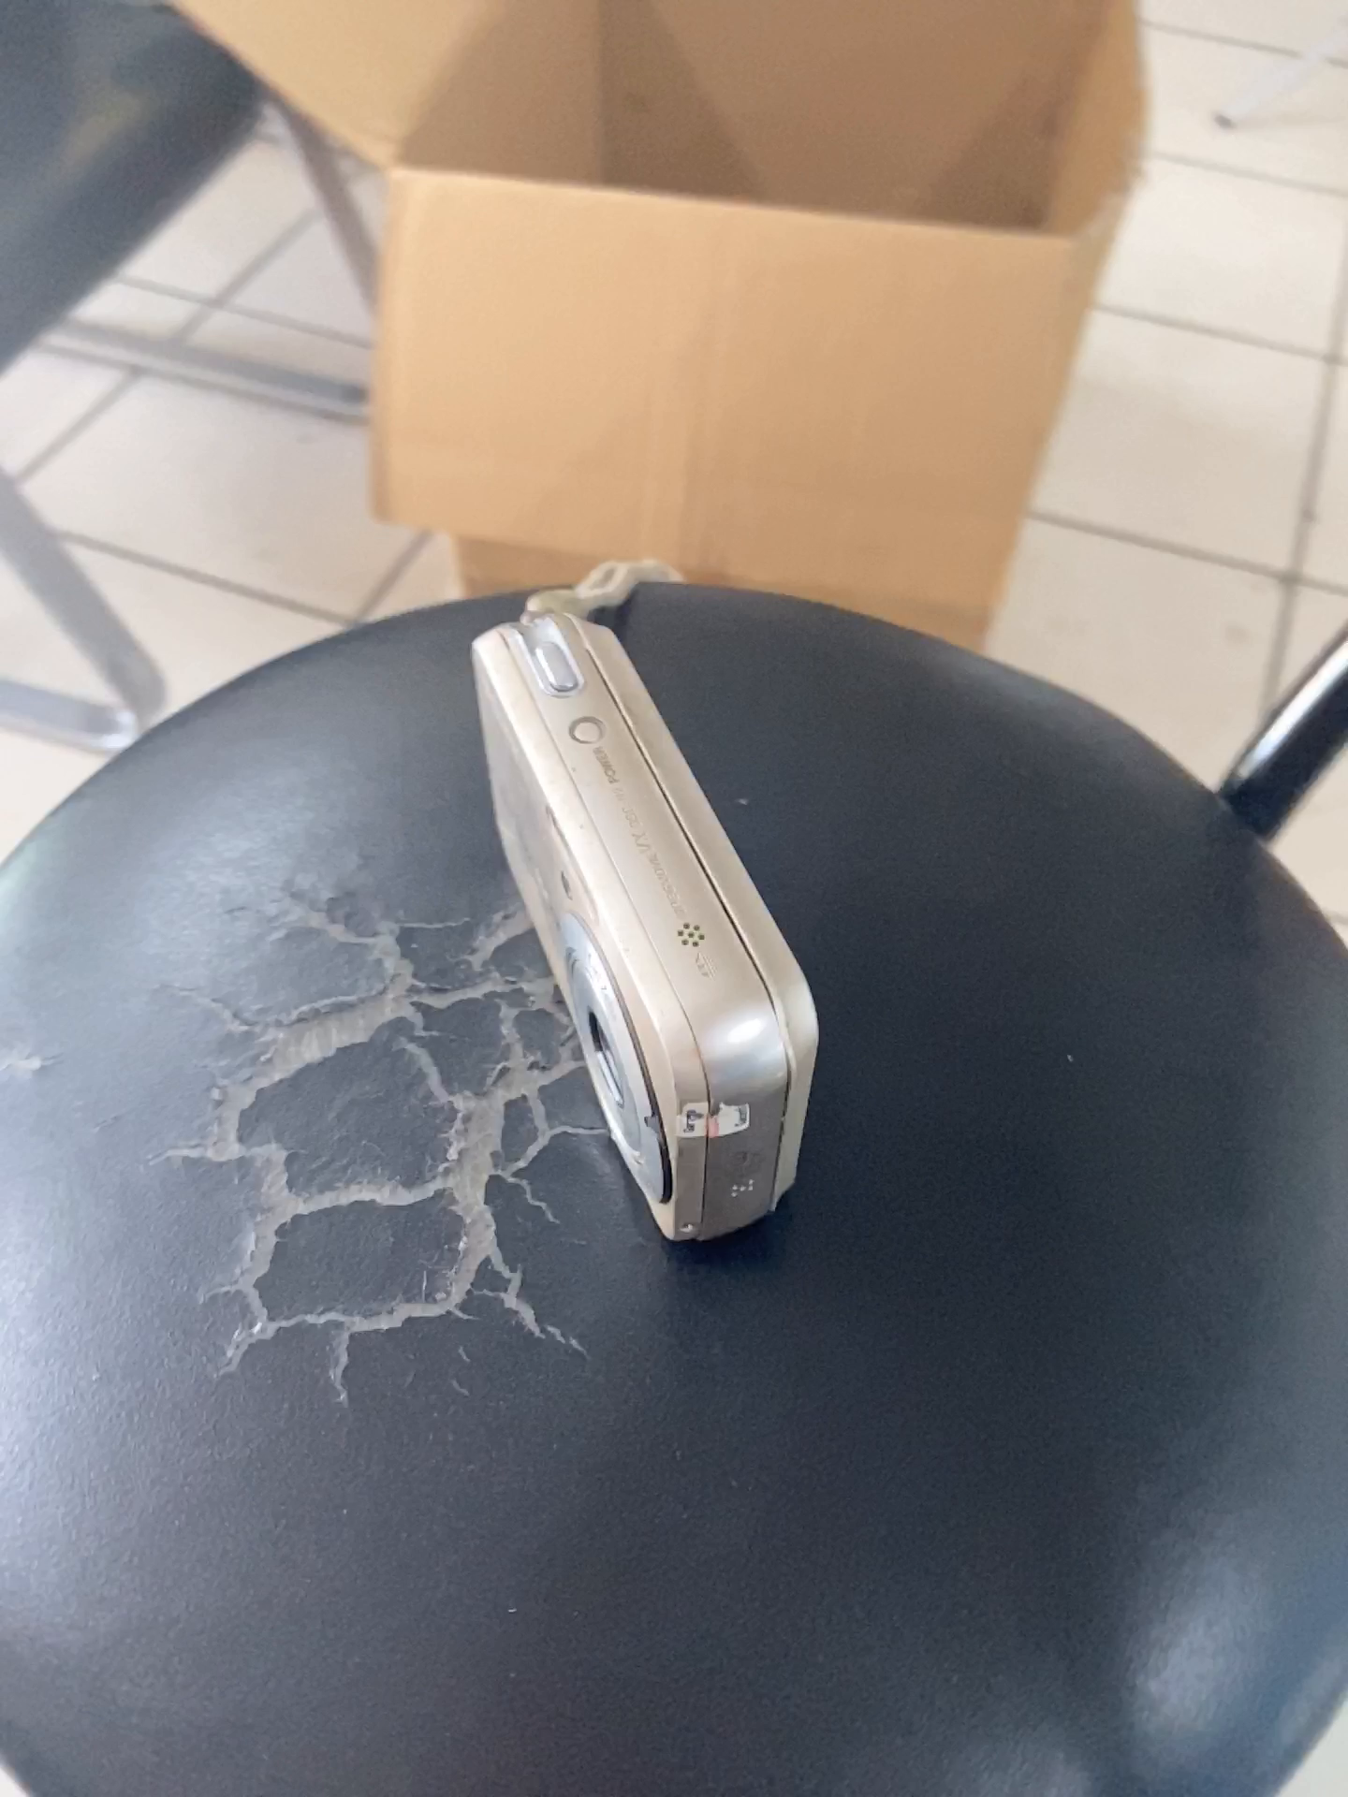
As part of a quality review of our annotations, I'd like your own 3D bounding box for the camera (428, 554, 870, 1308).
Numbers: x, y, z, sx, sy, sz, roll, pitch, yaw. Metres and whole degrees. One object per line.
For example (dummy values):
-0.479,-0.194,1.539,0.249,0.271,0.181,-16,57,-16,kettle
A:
-0.009,0.003,0.237,0.030,0.060,0.110,-17,55,-14,camera
